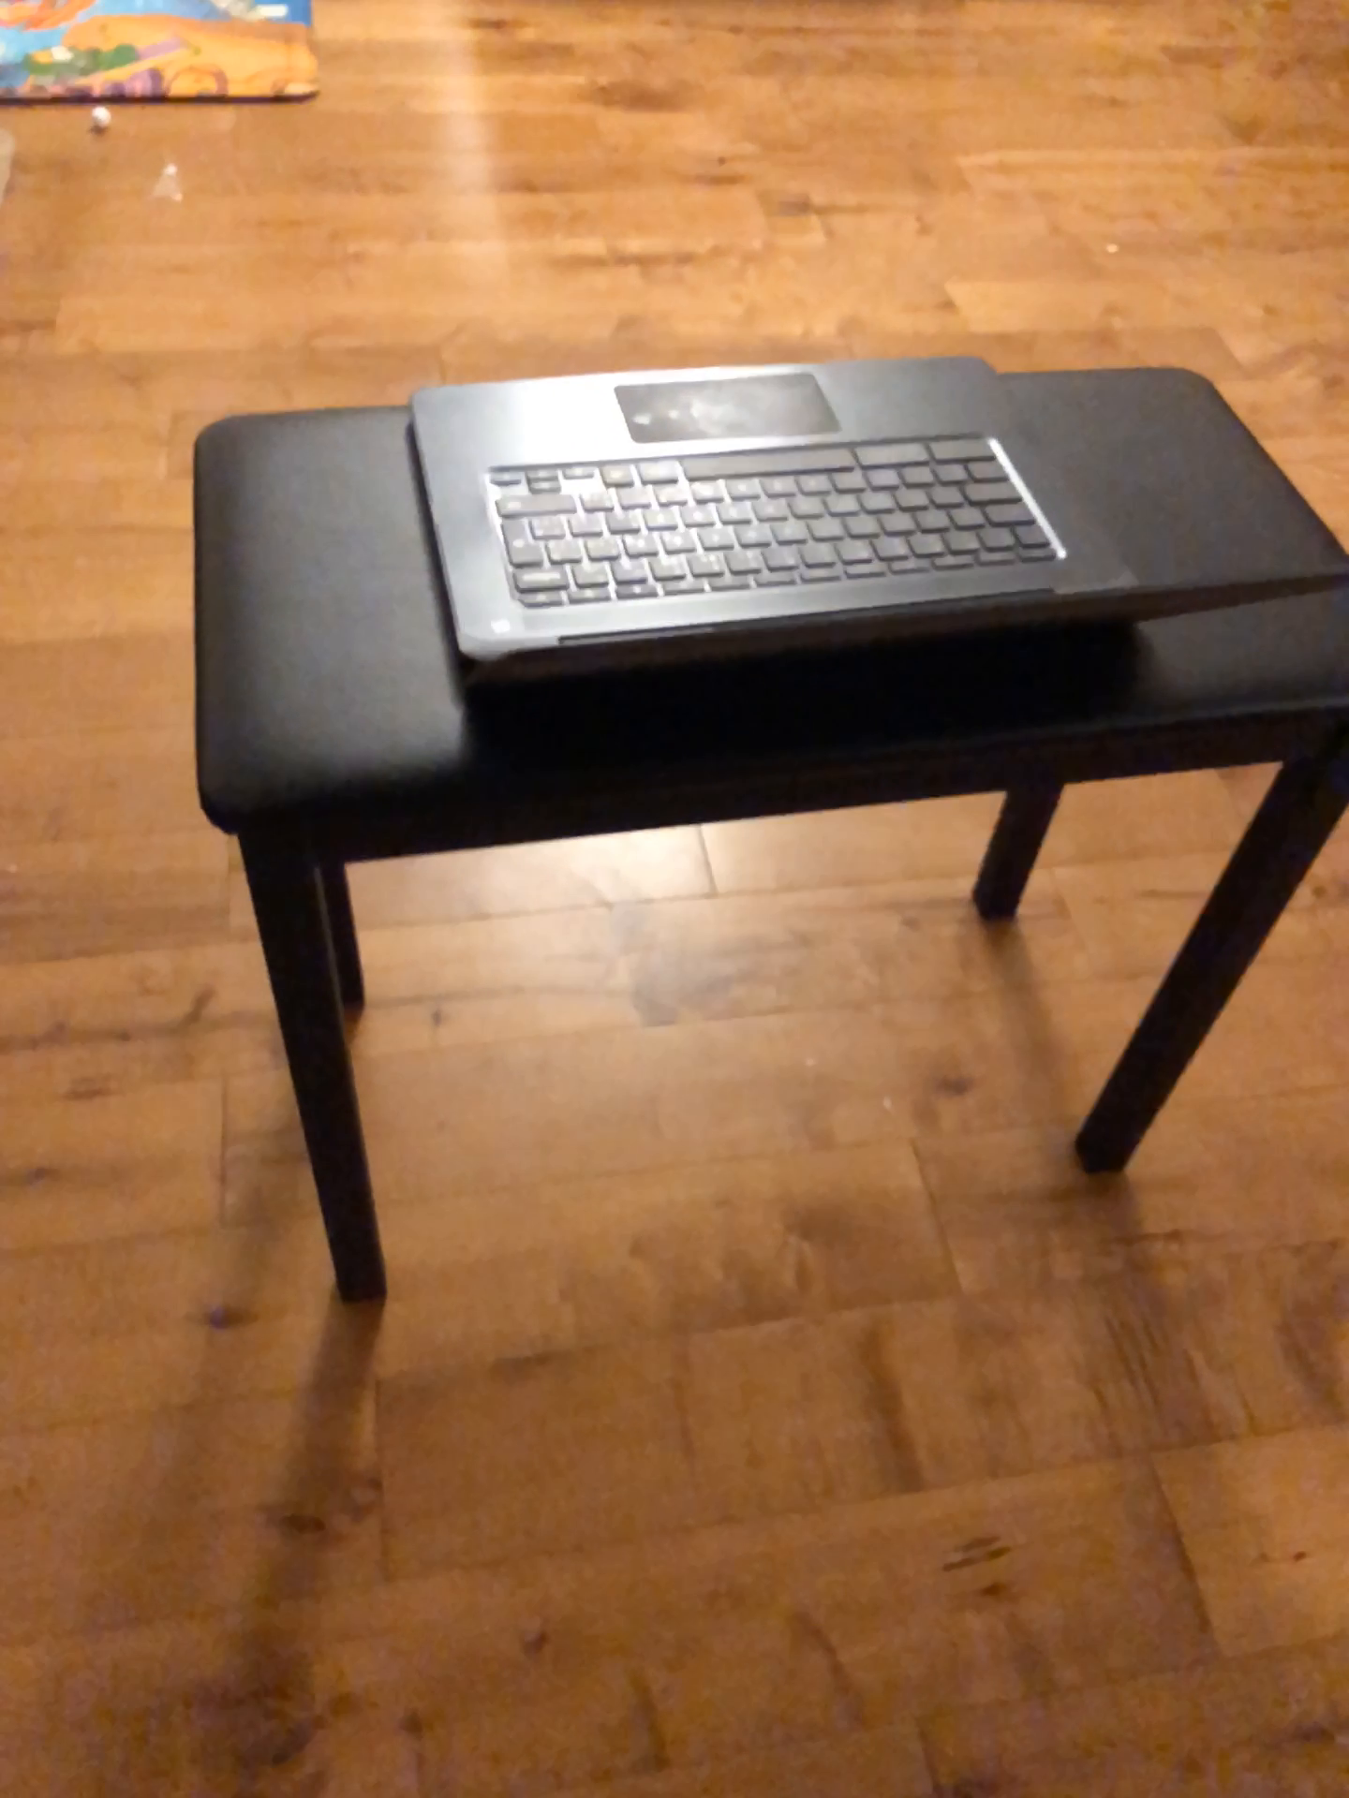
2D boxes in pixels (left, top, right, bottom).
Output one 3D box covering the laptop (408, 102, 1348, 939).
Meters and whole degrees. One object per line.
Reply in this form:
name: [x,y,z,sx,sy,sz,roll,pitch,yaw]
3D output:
laptop: [0.066,-0.192,0.658,0.316,0.143,0.364,-7,53,-12]
